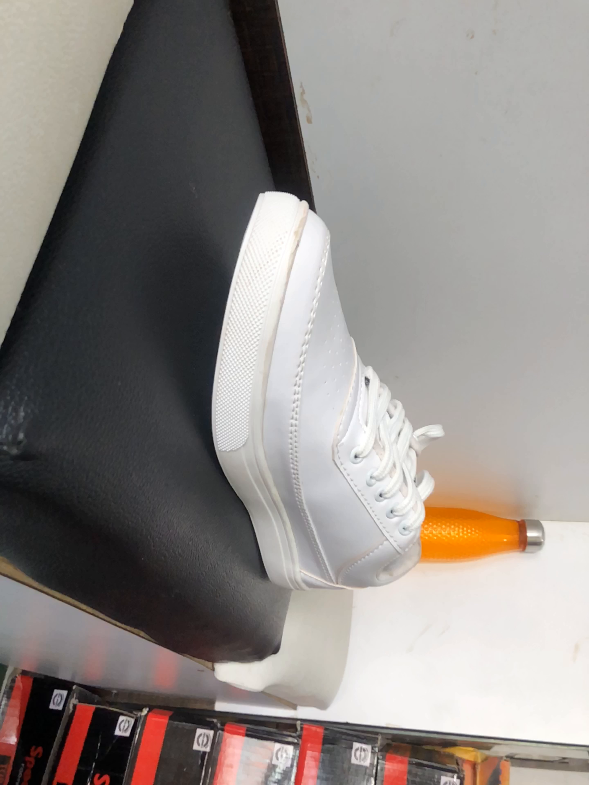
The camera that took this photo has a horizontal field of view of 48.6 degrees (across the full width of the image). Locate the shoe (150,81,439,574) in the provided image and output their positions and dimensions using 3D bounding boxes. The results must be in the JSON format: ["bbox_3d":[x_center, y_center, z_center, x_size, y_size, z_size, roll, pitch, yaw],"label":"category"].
[{"bbox_3d":[0.027,-0.010,0.397,0.291,0.110,0.130,76,18,-52],"label":"shoe"}]
